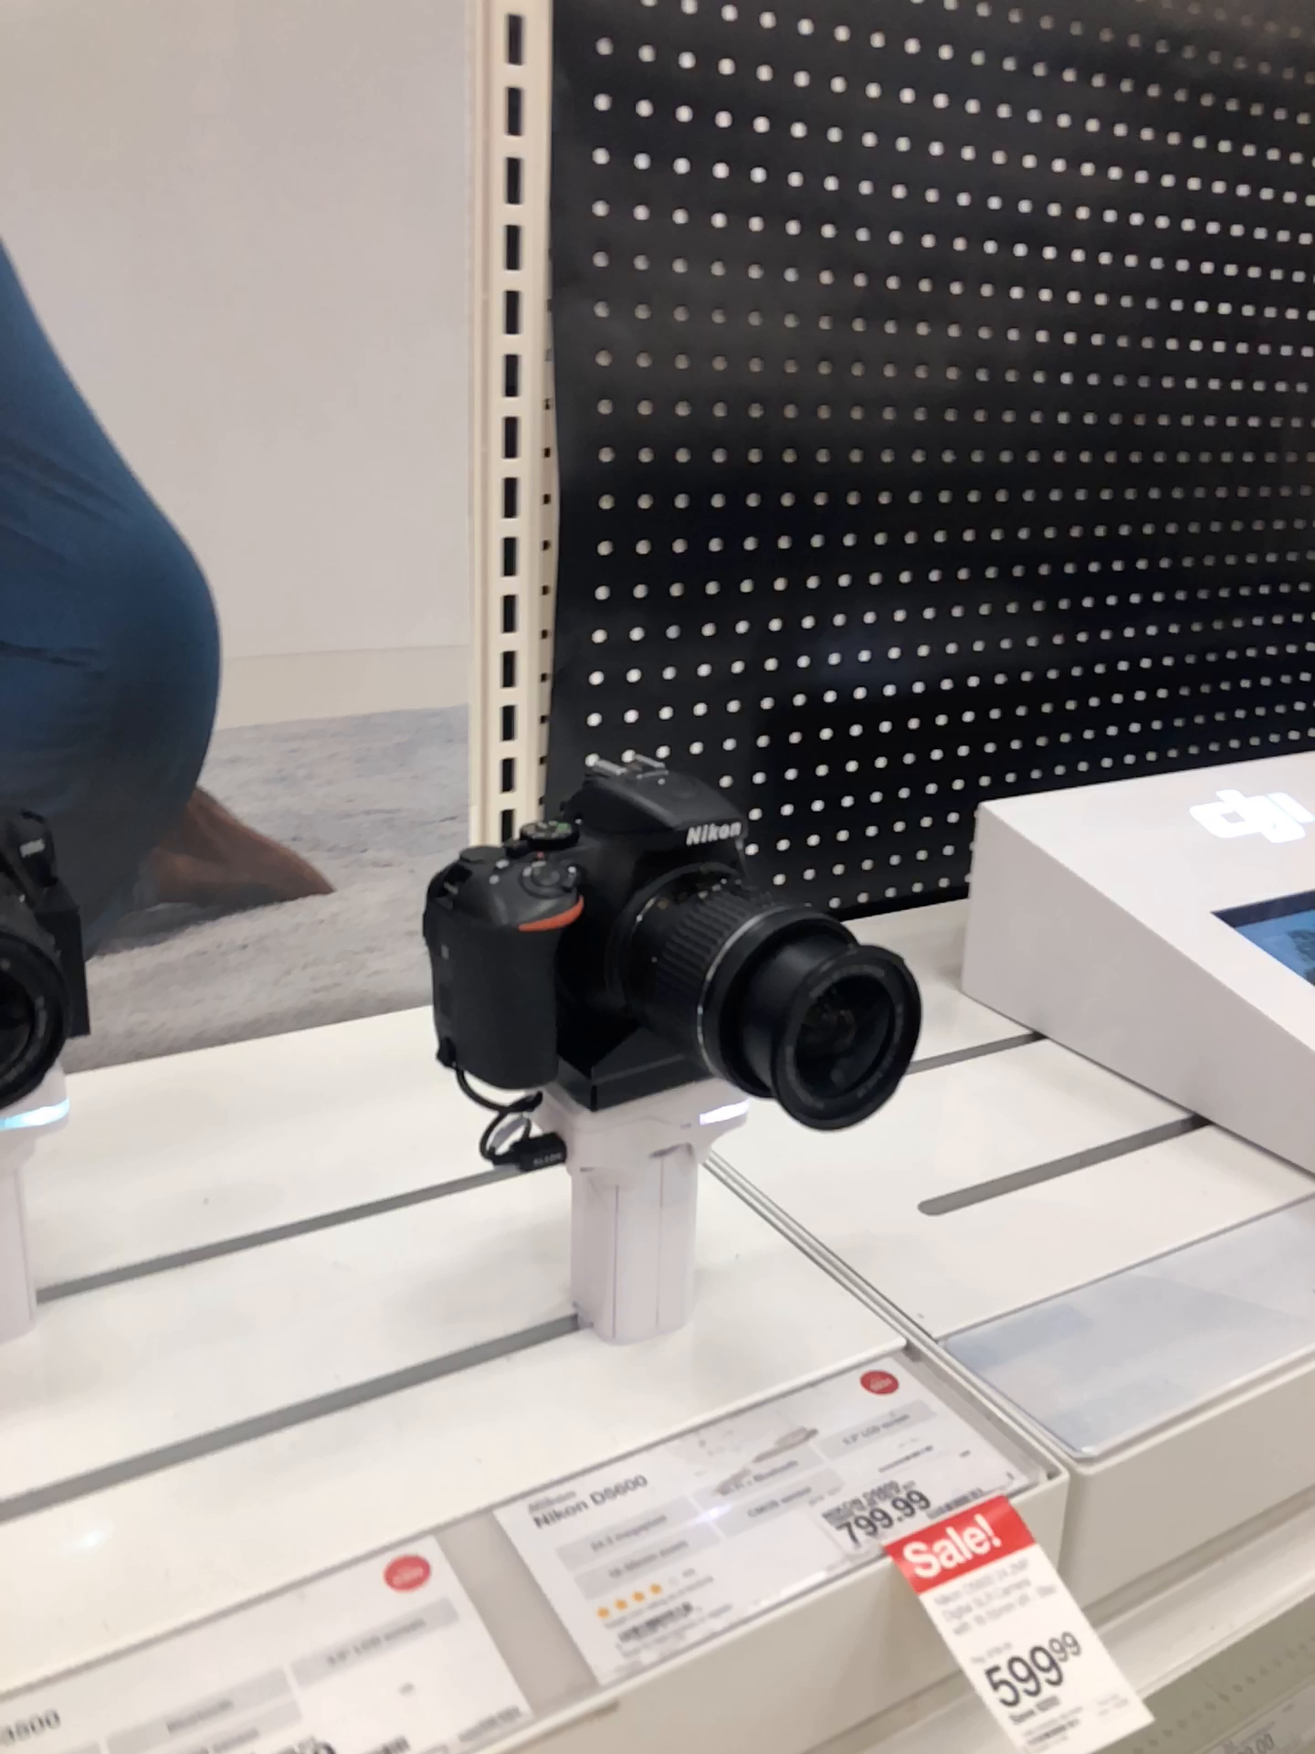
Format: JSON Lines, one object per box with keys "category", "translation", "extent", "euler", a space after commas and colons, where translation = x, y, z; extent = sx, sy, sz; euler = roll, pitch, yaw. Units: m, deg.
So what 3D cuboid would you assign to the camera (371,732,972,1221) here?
{"category": "camera", "translation": [-0.004, 0.020, 0.497], "extent": [0.130, 0.090, 0.170], "euler": [-10, 23, -31]}
